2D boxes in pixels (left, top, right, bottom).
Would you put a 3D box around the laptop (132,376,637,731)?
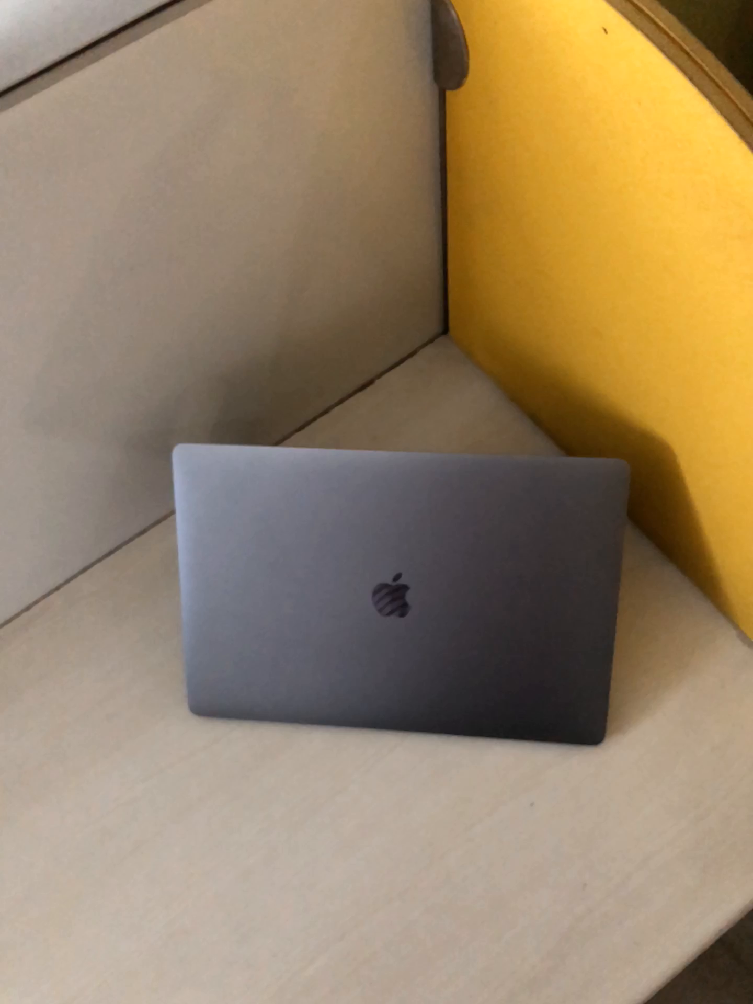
[{"bbox_3d":[0.017,0.044,0.682,0.344,0.152,0.236,2,67,6],"label":"laptop"}]
